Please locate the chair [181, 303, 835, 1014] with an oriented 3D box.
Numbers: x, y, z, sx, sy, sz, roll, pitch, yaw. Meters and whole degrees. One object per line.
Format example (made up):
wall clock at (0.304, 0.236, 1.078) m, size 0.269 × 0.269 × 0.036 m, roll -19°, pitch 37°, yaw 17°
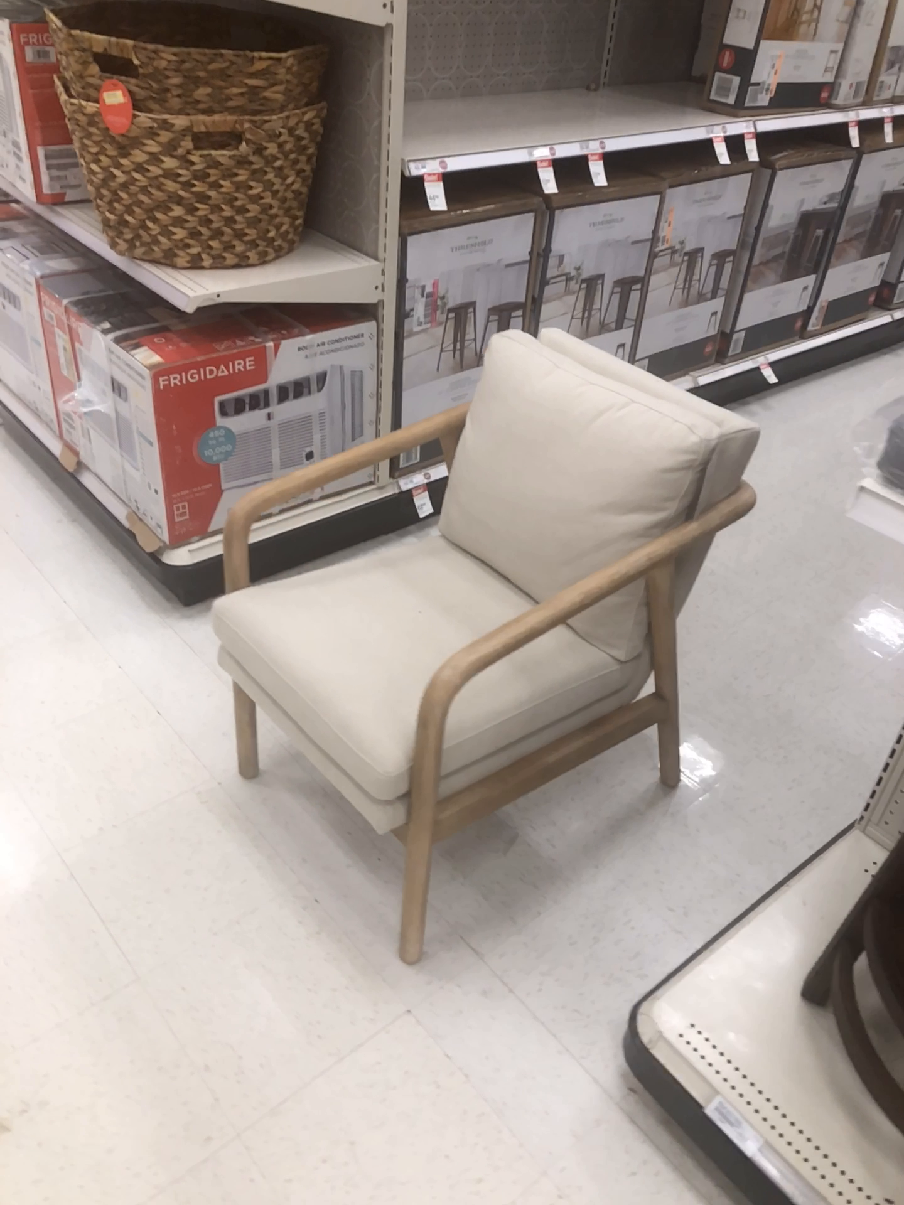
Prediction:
chair at (0.061, 0.042, 1.673) m, size 0.762 × 0.806 × 0.581 m, roll -22°, pitch 44°, yaw -33°
